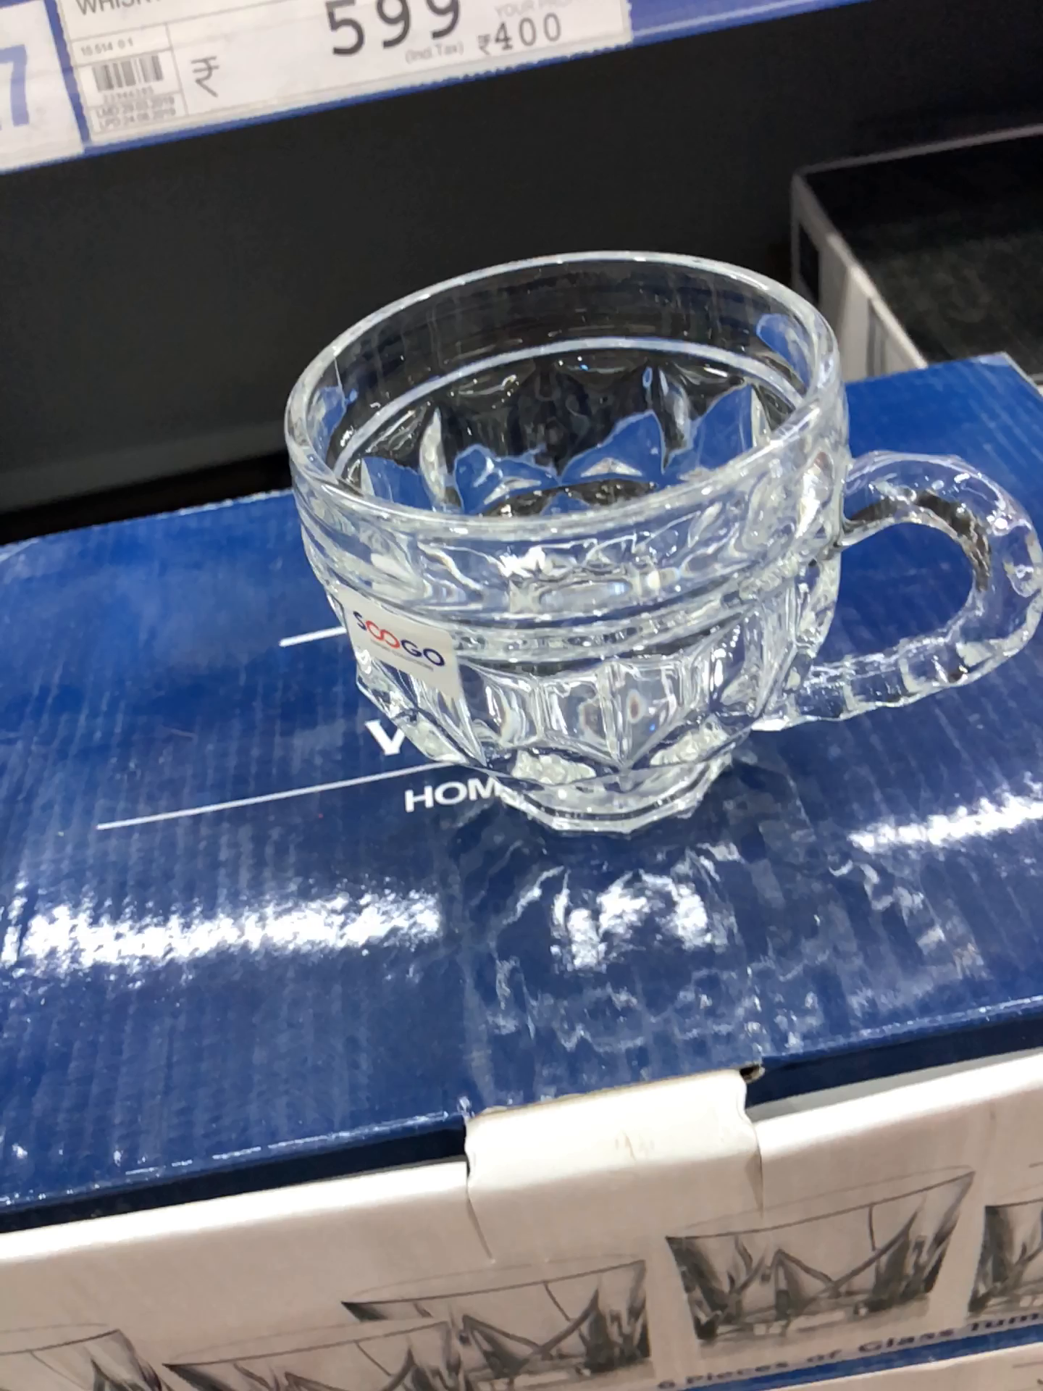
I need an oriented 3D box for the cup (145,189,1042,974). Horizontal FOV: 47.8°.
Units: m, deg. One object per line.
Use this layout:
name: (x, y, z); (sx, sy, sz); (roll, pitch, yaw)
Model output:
cup: (0.025, -0.027, 0.175); (0.110, 0.060, 0.090); (11, 46, 24)
